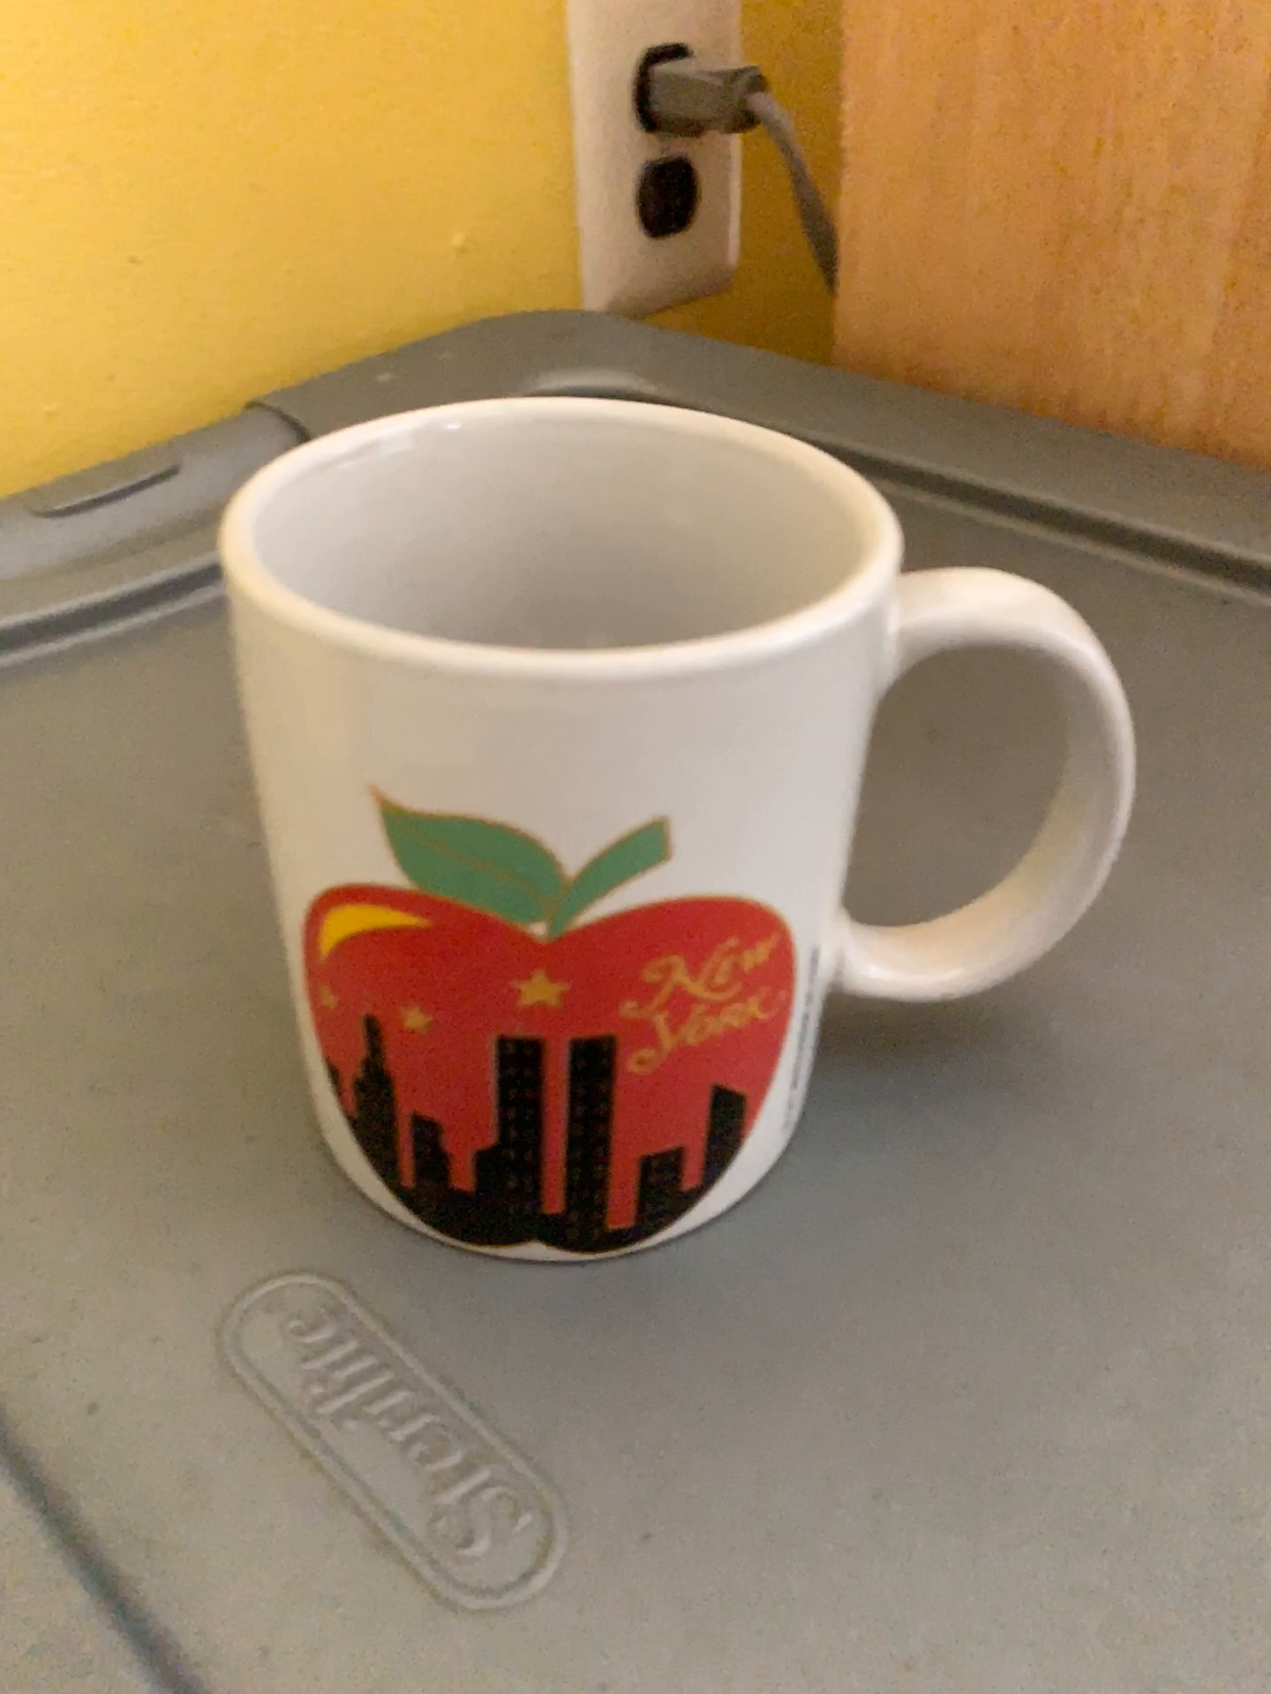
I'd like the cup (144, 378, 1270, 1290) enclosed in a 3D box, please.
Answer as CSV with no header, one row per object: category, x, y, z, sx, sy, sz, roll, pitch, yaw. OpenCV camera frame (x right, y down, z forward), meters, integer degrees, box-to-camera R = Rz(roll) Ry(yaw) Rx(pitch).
cup,0.007,-0.006,0.199,0.118,0.095,0.098,0,36,-4
